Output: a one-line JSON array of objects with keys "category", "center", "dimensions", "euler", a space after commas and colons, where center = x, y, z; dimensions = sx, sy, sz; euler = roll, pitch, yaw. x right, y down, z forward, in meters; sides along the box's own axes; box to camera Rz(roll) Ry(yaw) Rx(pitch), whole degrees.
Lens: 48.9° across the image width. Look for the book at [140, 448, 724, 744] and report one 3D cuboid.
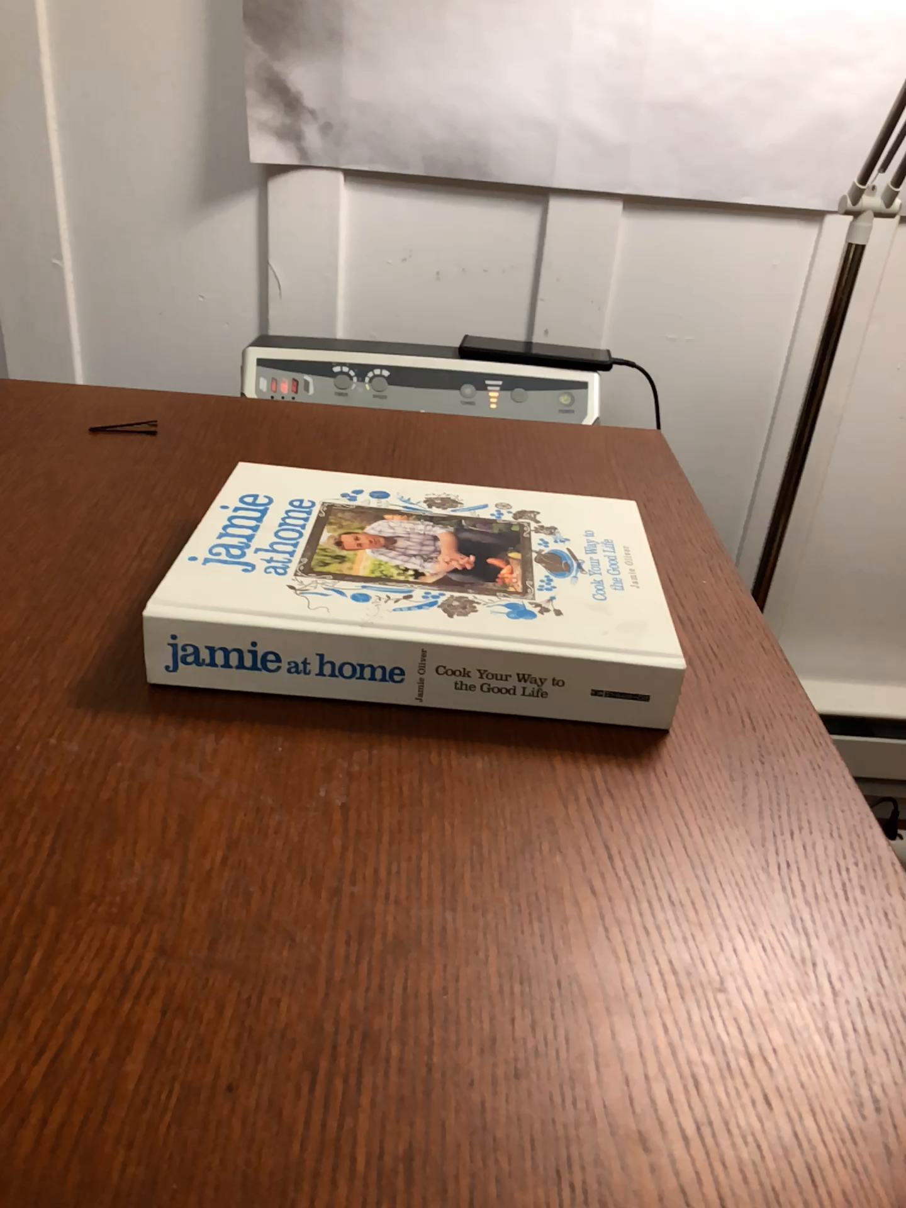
[{"category": "book", "center": [-0.007, -0.016, 0.543], "dimensions": [0.260, 0.040, 0.211], "euler": [5, 30, -1]}]
